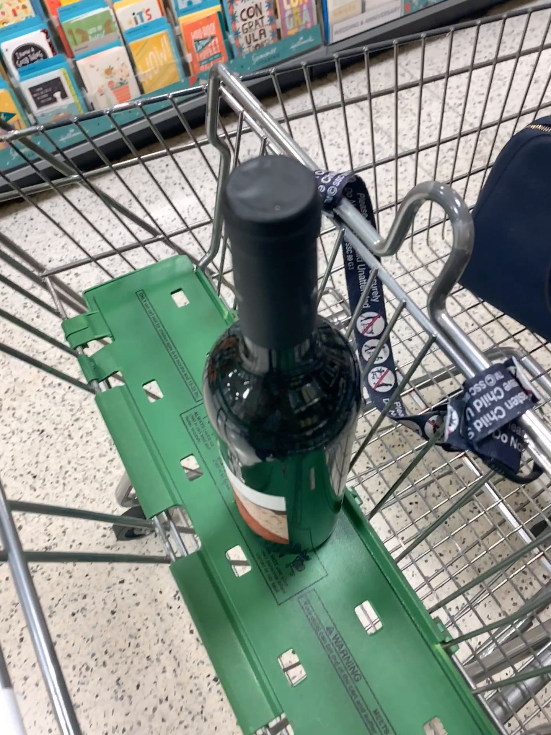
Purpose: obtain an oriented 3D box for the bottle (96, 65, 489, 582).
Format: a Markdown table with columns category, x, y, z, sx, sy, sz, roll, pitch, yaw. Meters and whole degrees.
| category | x | y | z | sx | sy | sz | roll | pitch | yaw |
| --- | --- | --- | --- | --- | --- | --- | --- | --- | --- |
| bottle | 0.006 | 0.025 | 0.282 | 0.080 | 0.298 | 0.080 | -1 | 60 | 2 |
